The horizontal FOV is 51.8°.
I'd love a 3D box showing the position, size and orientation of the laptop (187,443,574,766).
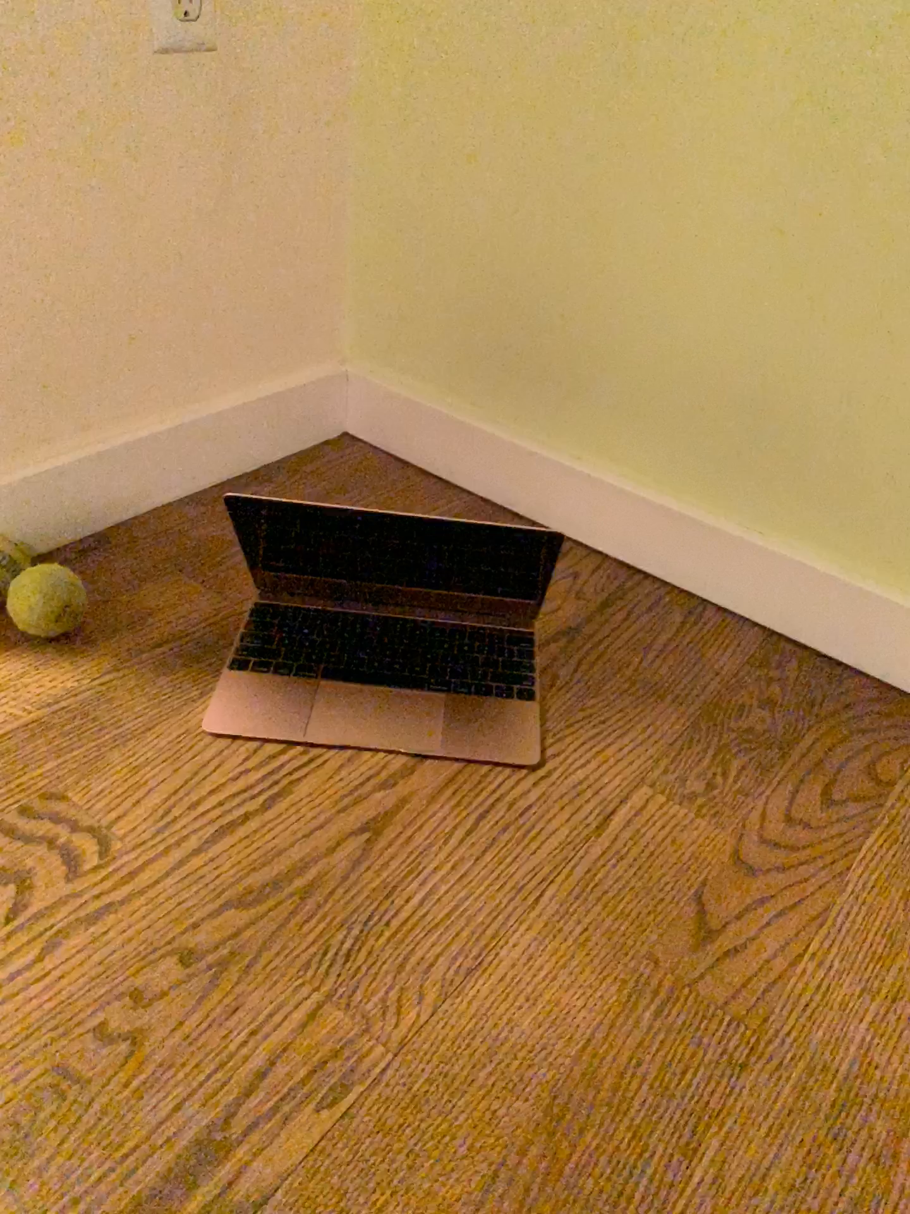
[{"bbox_3d":[-0.057,-0.008,0.827,0.288,0.168,0.207,6,35,-1],"label":"laptop"}]
